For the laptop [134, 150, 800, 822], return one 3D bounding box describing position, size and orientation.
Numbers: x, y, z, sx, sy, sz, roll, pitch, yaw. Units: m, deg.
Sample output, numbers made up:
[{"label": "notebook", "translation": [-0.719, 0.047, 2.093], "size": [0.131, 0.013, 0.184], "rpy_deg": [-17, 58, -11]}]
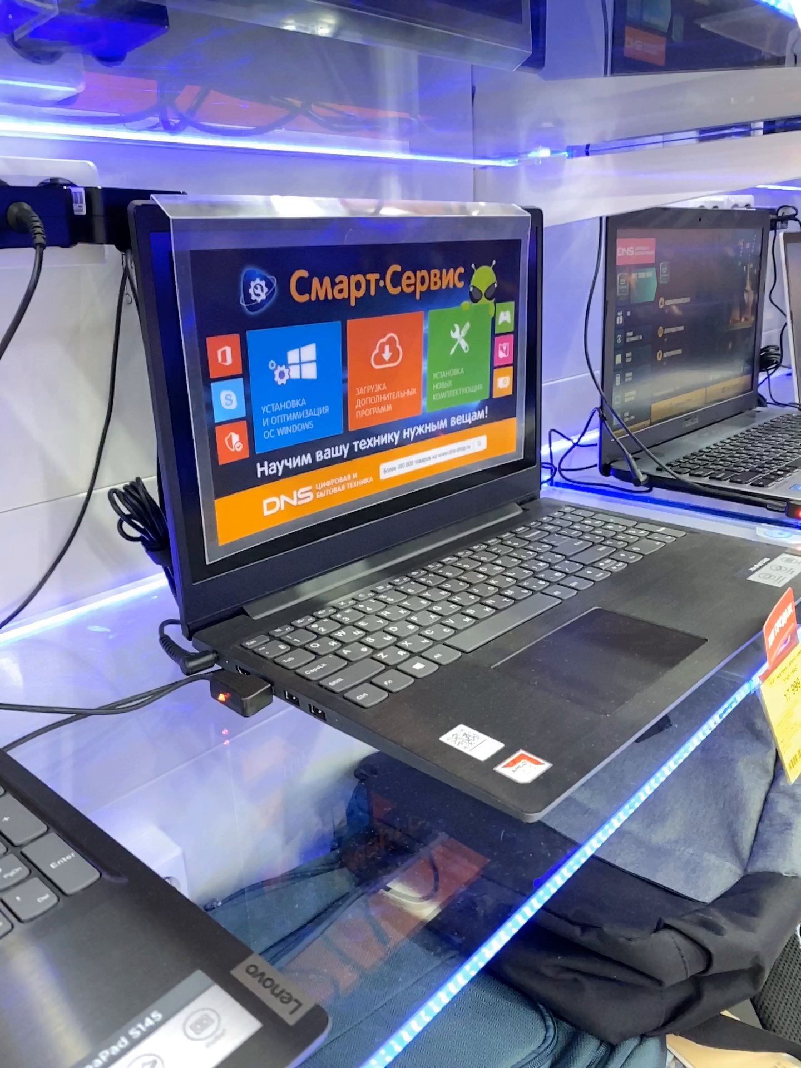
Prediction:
[{"label": "laptop", "translation": [0.085, -0.072, 0.490], "size": [0.258, 0.239, 0.362], "rpy_deg": [16, 25, 42]}]
